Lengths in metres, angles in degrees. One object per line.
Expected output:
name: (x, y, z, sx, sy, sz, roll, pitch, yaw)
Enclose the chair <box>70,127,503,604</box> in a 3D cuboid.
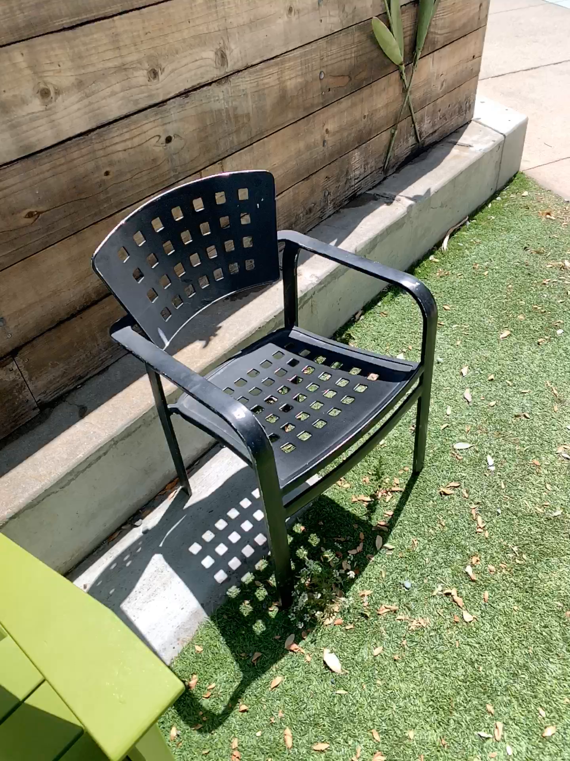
chair: (0.028, -0.053, 1.293, 0.522, 0.716, 0.591, 31, 54, 33)
